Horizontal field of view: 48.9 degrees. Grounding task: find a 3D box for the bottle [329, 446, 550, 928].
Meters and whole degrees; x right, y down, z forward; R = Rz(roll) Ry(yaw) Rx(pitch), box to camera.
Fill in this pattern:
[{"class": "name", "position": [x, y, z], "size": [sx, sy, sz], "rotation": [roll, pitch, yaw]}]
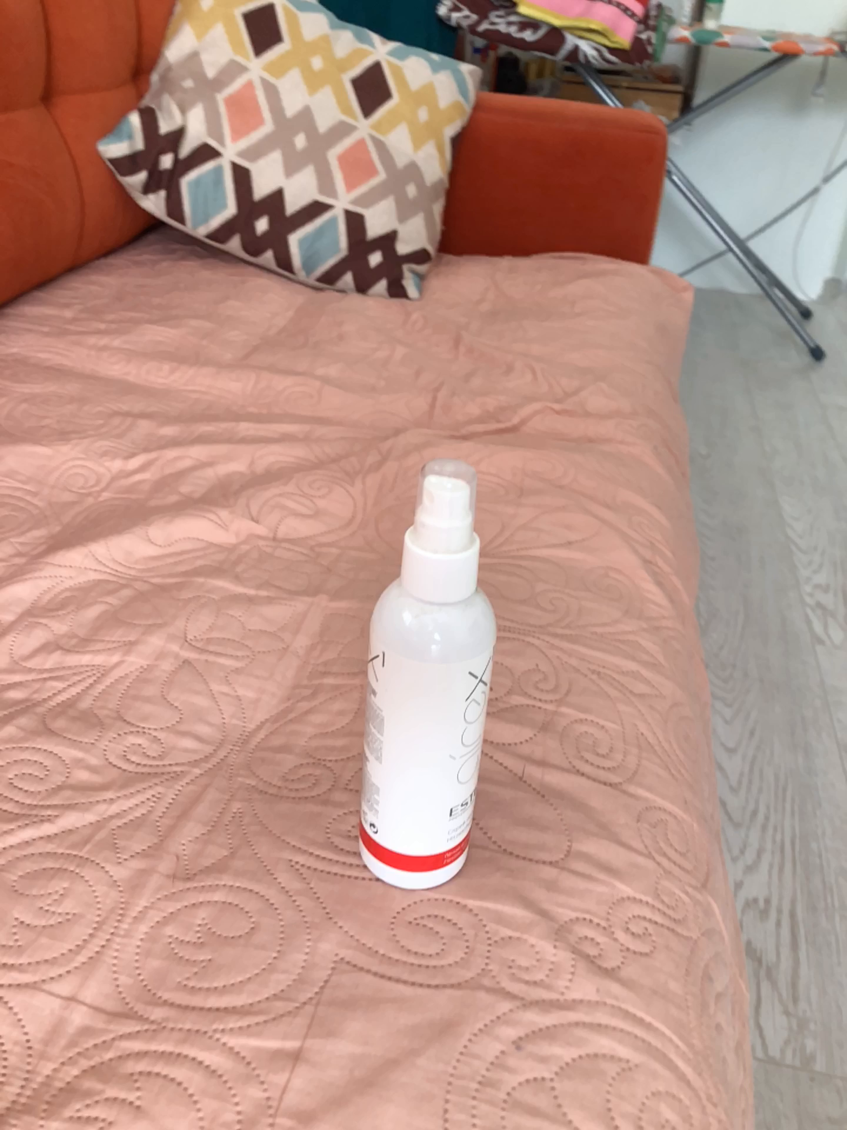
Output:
[{"class": "bottle", "position": [0.002, 0.049, 0.344], "size": [0.050, 0.169, 0.050], "rotation": [3, 31, -2]}]
